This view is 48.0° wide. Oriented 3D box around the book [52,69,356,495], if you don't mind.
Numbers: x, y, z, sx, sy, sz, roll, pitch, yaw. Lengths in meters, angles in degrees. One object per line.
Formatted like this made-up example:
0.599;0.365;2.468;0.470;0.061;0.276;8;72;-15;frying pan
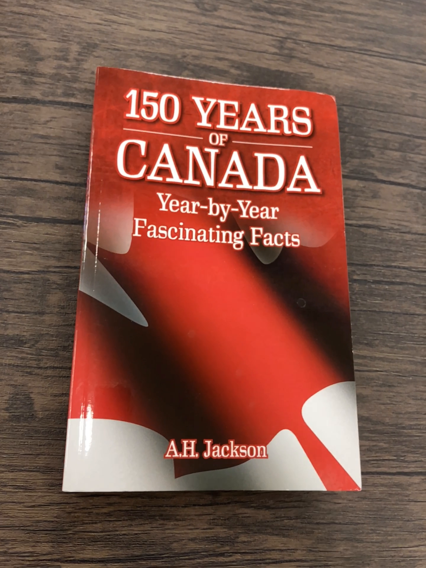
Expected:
-0.002;-0.007;0.242;0.130;0.025;0.206;2;76;-5;book
